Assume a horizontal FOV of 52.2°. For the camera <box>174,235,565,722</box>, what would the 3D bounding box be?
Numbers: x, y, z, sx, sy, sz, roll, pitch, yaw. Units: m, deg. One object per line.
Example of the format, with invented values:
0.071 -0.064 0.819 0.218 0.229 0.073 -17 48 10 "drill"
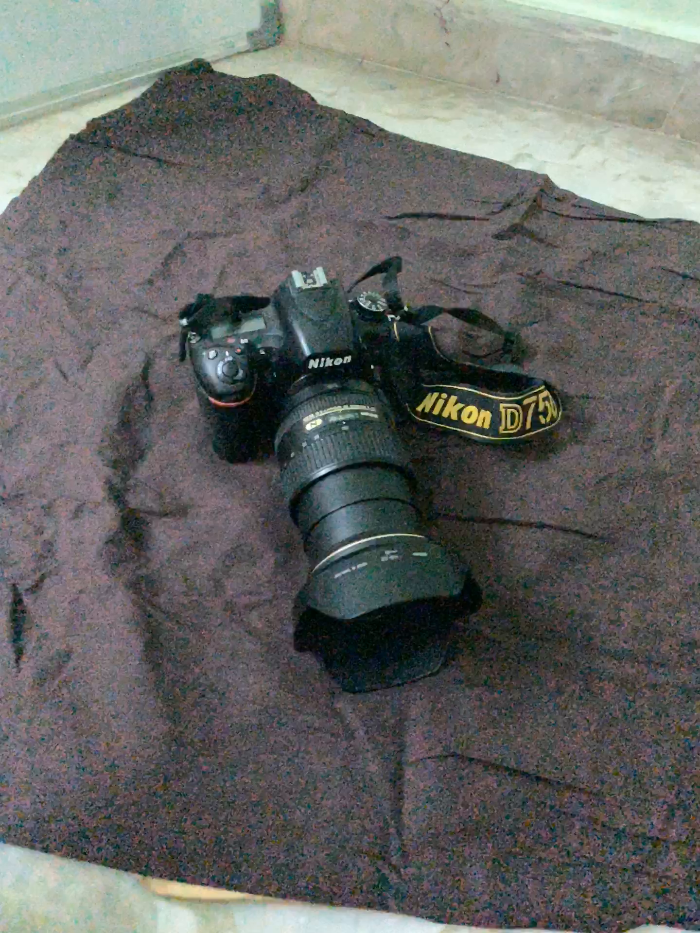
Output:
-0.009 -0.010 0.452 0.161 0.100 0.279 -9 56 -11 "camera"
